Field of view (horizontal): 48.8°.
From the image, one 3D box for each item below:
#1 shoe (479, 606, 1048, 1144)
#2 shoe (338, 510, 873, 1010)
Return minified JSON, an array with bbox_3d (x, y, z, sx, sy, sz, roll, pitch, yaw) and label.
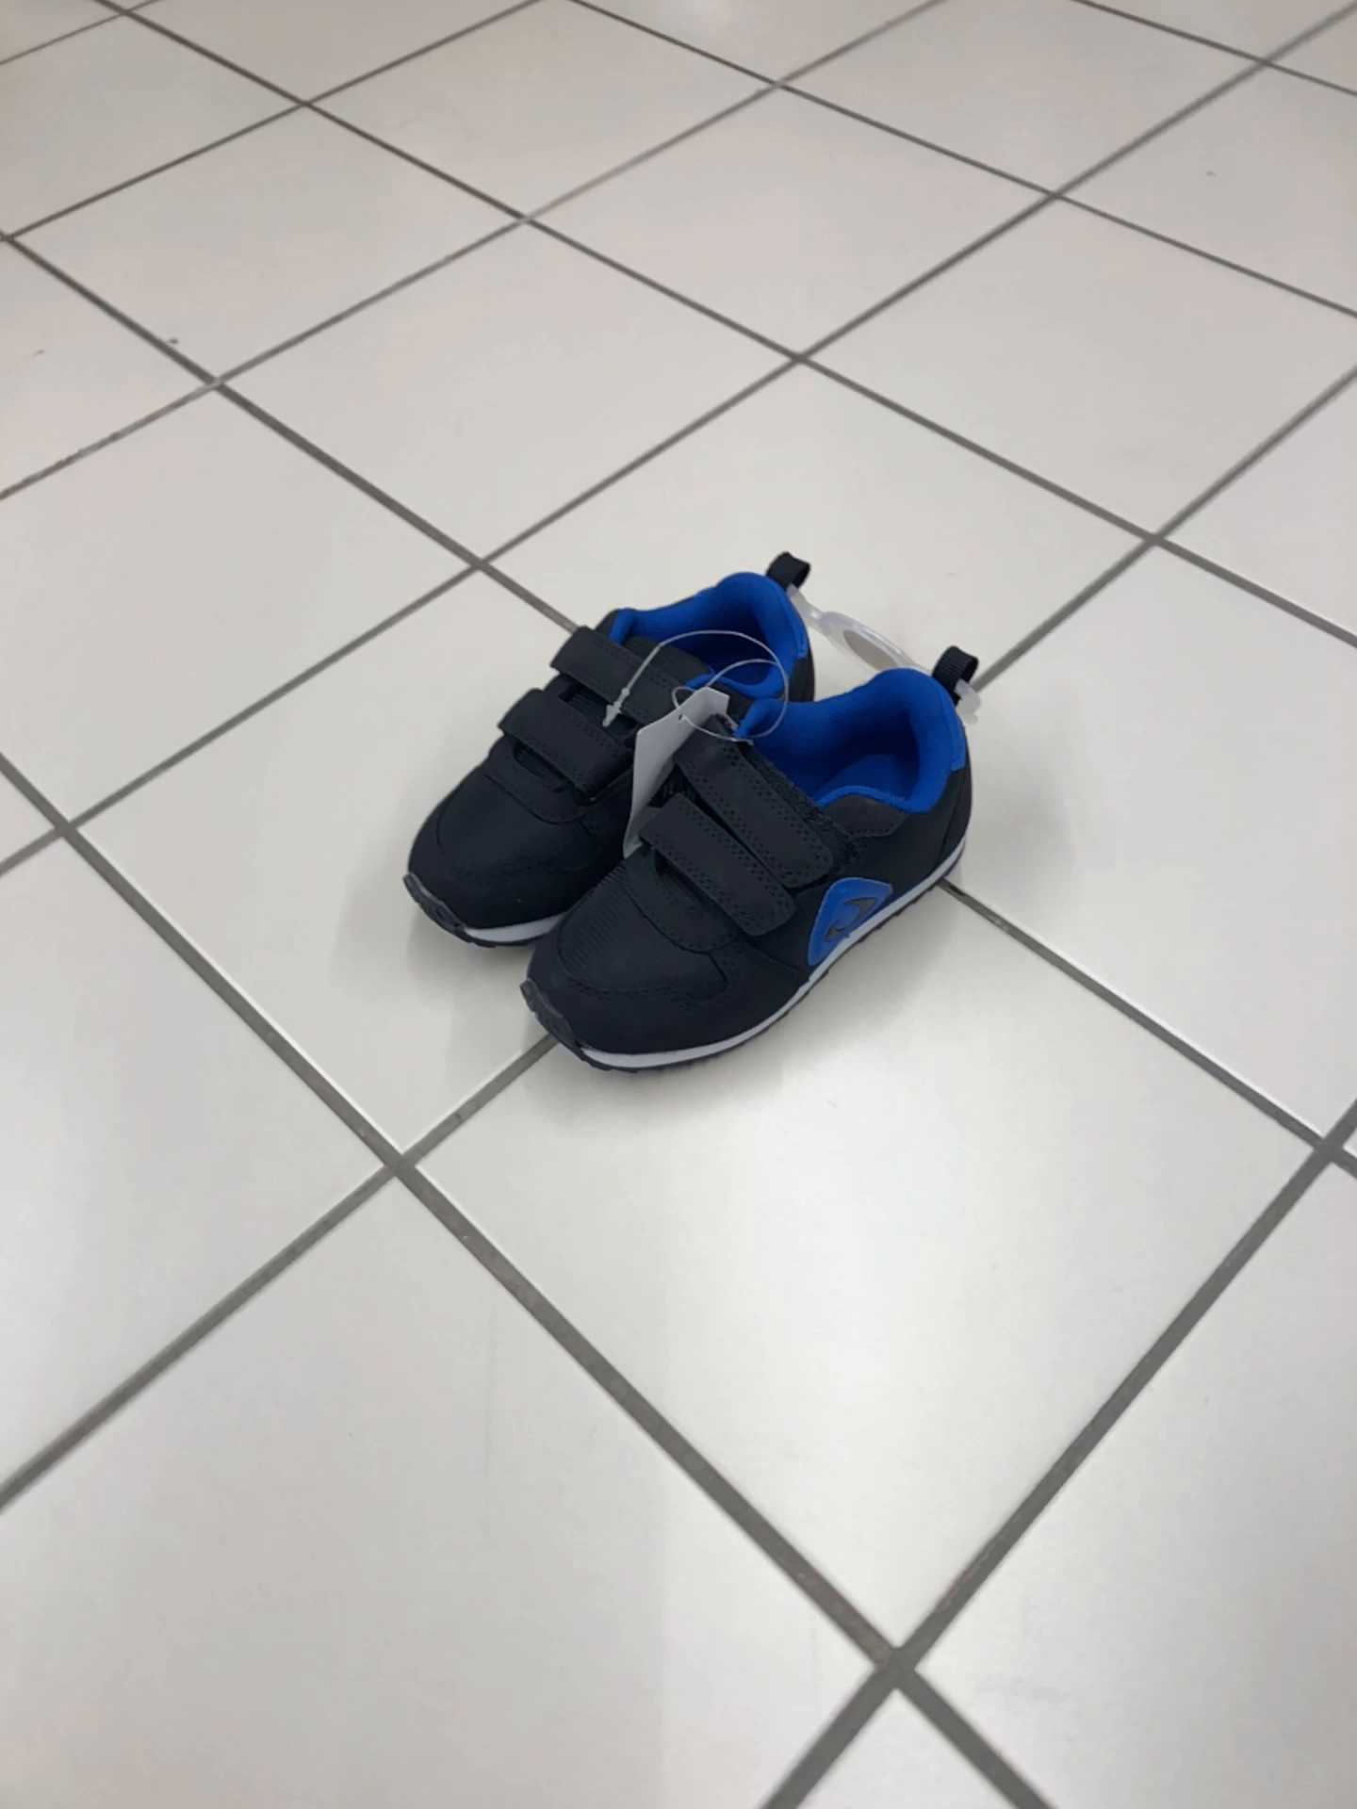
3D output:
[{"bbox_3d":[0.031,-0.013,0.488,0.175,0.073,0.067,-35,58,-21],"label":"shoe"},{"bbox_3d":[-0.019,-0.054,0.522,0.175,0.073,0.067,-36,59,-22],"label":"shoe"}]
